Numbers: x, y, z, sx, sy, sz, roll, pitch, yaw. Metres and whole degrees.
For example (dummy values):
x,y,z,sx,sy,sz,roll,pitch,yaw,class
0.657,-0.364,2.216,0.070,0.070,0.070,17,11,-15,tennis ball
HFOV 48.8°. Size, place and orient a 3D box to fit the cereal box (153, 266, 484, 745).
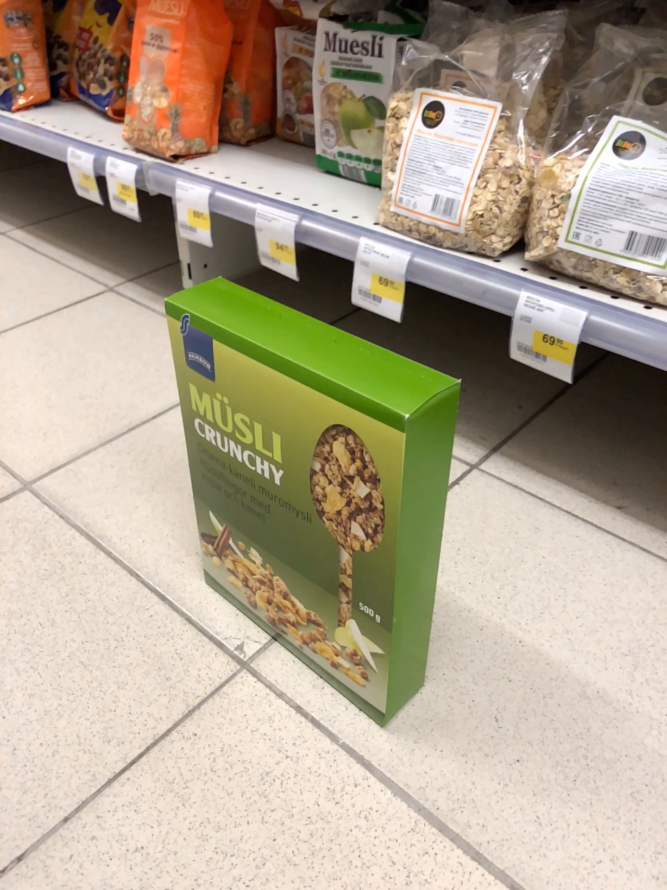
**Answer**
x,y,z,sx,sy,sz,roll,pitch,yaw,class
-0.018,0.039,0.468,0.201,0.249,0.050,29,45,34,cereal box
